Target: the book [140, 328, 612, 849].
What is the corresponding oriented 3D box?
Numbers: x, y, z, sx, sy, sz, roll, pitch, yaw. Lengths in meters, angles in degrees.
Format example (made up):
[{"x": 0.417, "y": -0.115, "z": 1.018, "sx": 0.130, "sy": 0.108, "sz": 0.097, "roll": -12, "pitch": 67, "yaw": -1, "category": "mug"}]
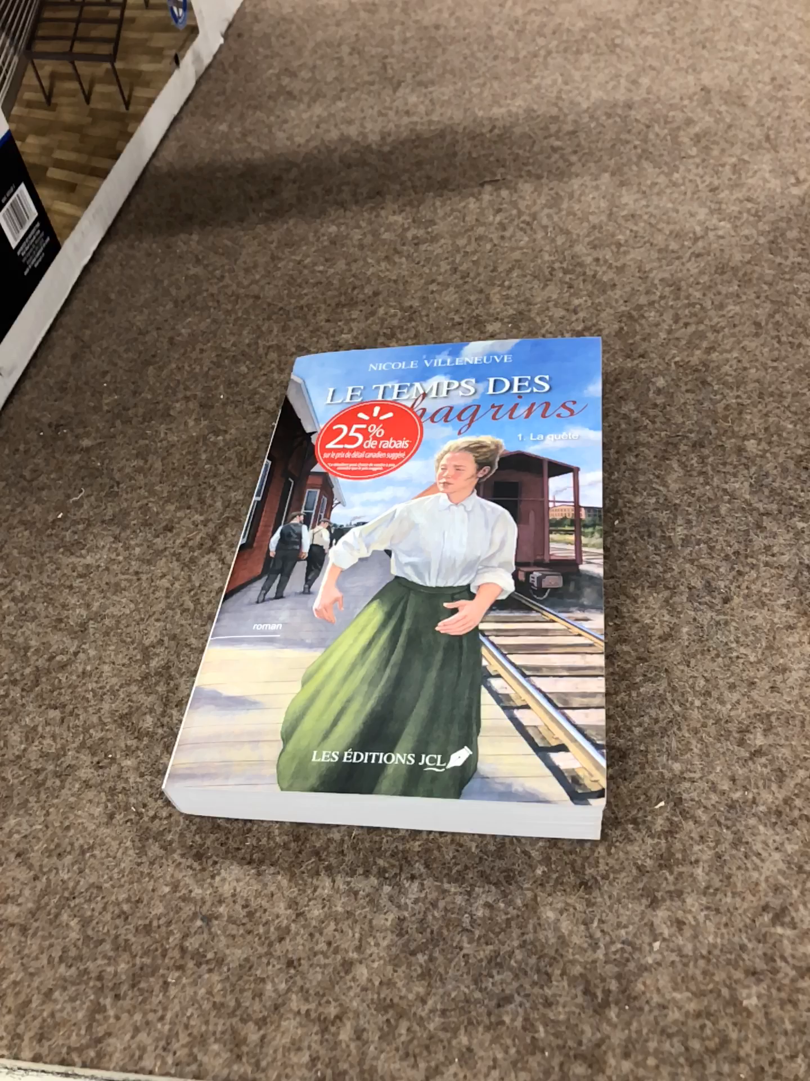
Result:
[{"x": 0.003, "y": 0.003, "z": 0.364, "sx": 0.155, "sy": 0.030, "sz": 0.225, "roll": -1, "pitch": 51, "yaw": 13, "category": "book"}]
